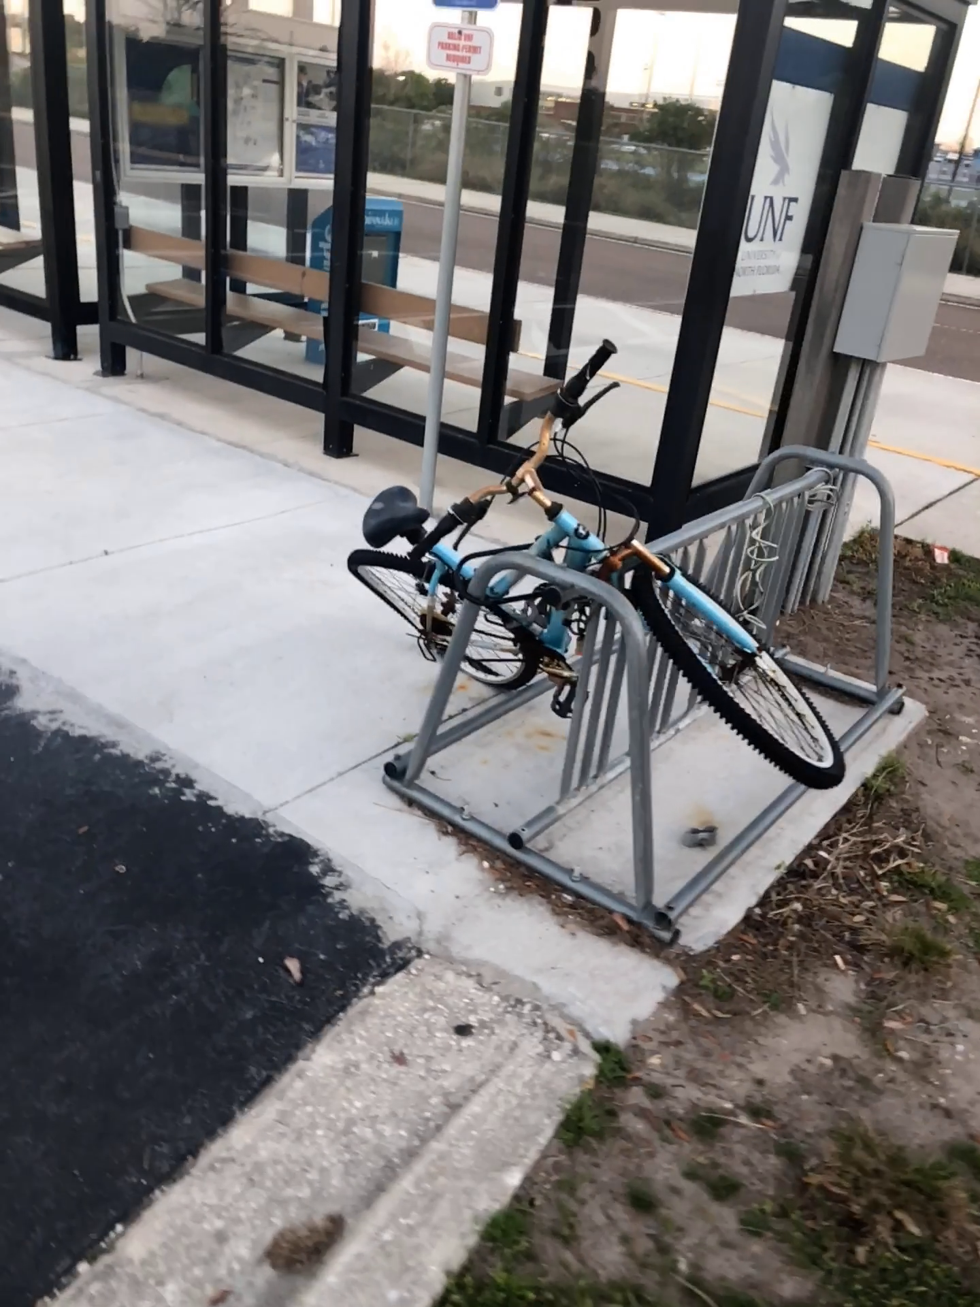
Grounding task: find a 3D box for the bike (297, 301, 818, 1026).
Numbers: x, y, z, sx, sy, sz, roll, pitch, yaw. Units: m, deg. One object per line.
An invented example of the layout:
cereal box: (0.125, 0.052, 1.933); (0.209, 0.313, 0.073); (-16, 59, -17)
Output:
bike: (0.021, -0.074, 2.165); (0.548, 1.128, 0.941); (-7, 27, -28)
